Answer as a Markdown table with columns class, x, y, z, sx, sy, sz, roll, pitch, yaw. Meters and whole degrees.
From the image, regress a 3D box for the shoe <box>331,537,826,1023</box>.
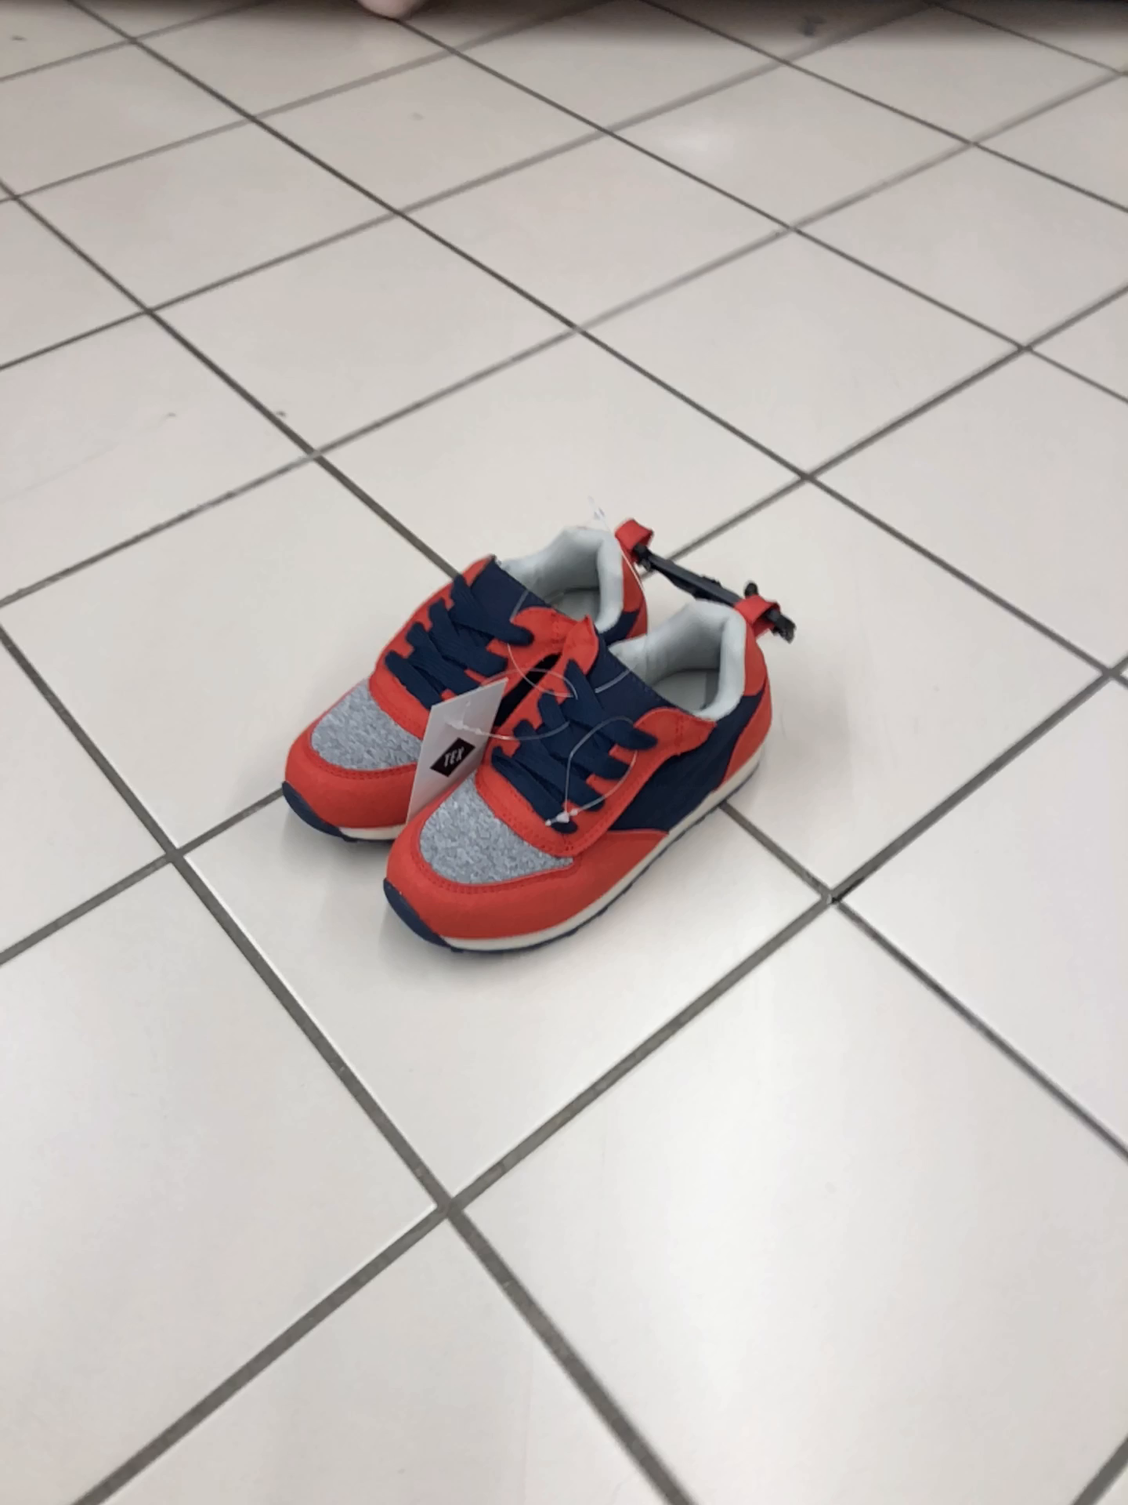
| class | x | y | z | sx | sy | sz | roll | pitch | yaw |
| --- | --- | --- | --- | --- | --- | --- | --- | --- | --- |
| shoe | 0.011 | 0.005 | 0.514 | 0.189 | 0.083 | 0.082 | -37 | 59 | -26 |

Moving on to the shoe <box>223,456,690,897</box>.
| class | x | y | z | sx | sy | sz | roll | pitch | yaw |
| --- | --- | --- | --- | --- | --- | --- | --- | --- | --- |
| shoe | -0.040 | -0.039 | 0.550 | 0.187 | 0.083 | 0.082 | -37 | 59 | -26 |
